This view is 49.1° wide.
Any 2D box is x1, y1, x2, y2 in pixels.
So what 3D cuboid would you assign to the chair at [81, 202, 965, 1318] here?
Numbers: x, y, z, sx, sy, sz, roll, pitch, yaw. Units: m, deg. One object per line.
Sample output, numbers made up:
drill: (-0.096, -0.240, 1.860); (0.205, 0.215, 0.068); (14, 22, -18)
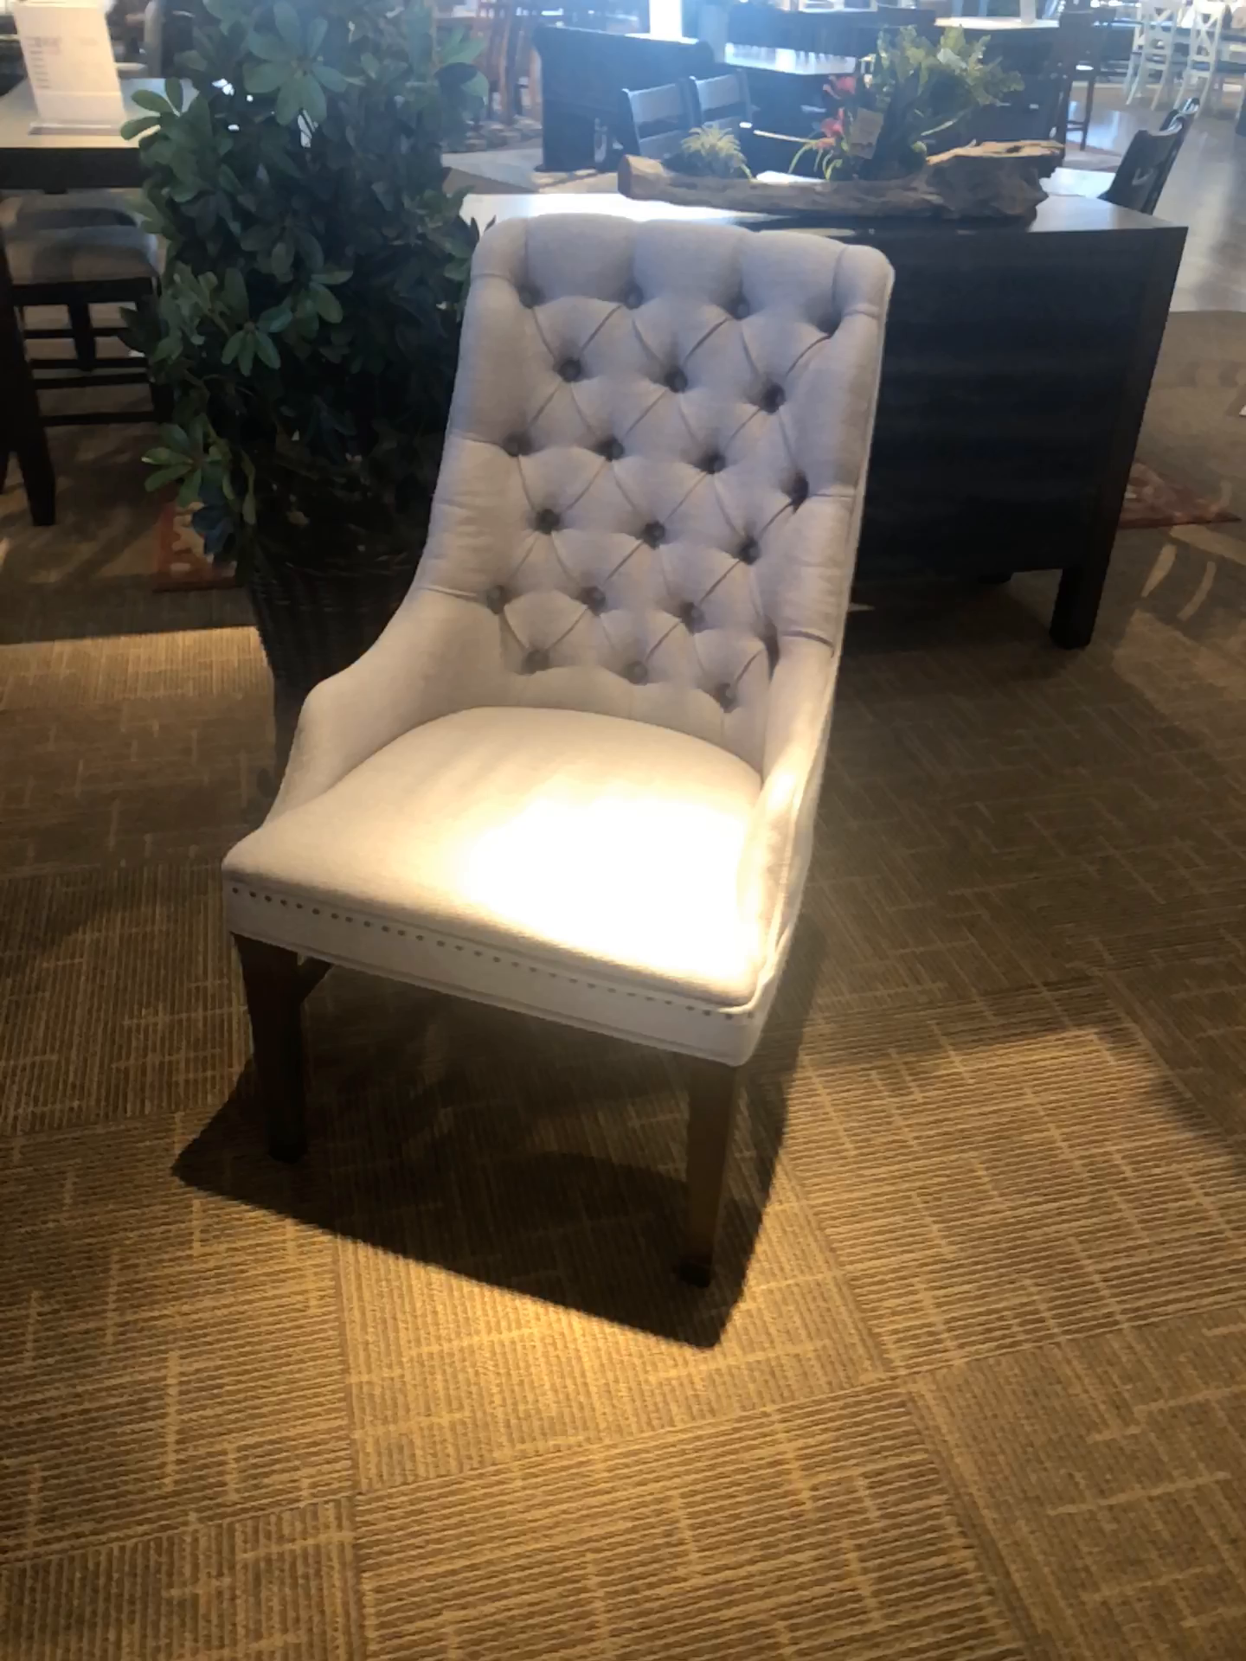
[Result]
chair: (-0.052, -0.135, 1.668); (0.640, 1.015, 0.764); (13, 34, 17)
